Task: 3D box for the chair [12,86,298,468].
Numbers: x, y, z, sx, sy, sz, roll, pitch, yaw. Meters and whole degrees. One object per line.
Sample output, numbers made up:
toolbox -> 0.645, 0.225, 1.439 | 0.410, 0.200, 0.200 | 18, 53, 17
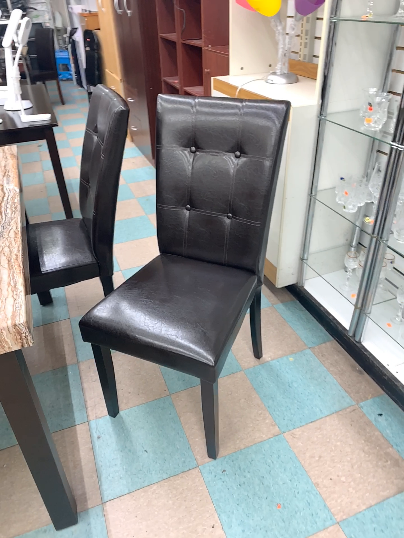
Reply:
chair -> -0.061, 0.008, 1.273 | 0.485, 0.949, 0.557 | 14, 37, 22
